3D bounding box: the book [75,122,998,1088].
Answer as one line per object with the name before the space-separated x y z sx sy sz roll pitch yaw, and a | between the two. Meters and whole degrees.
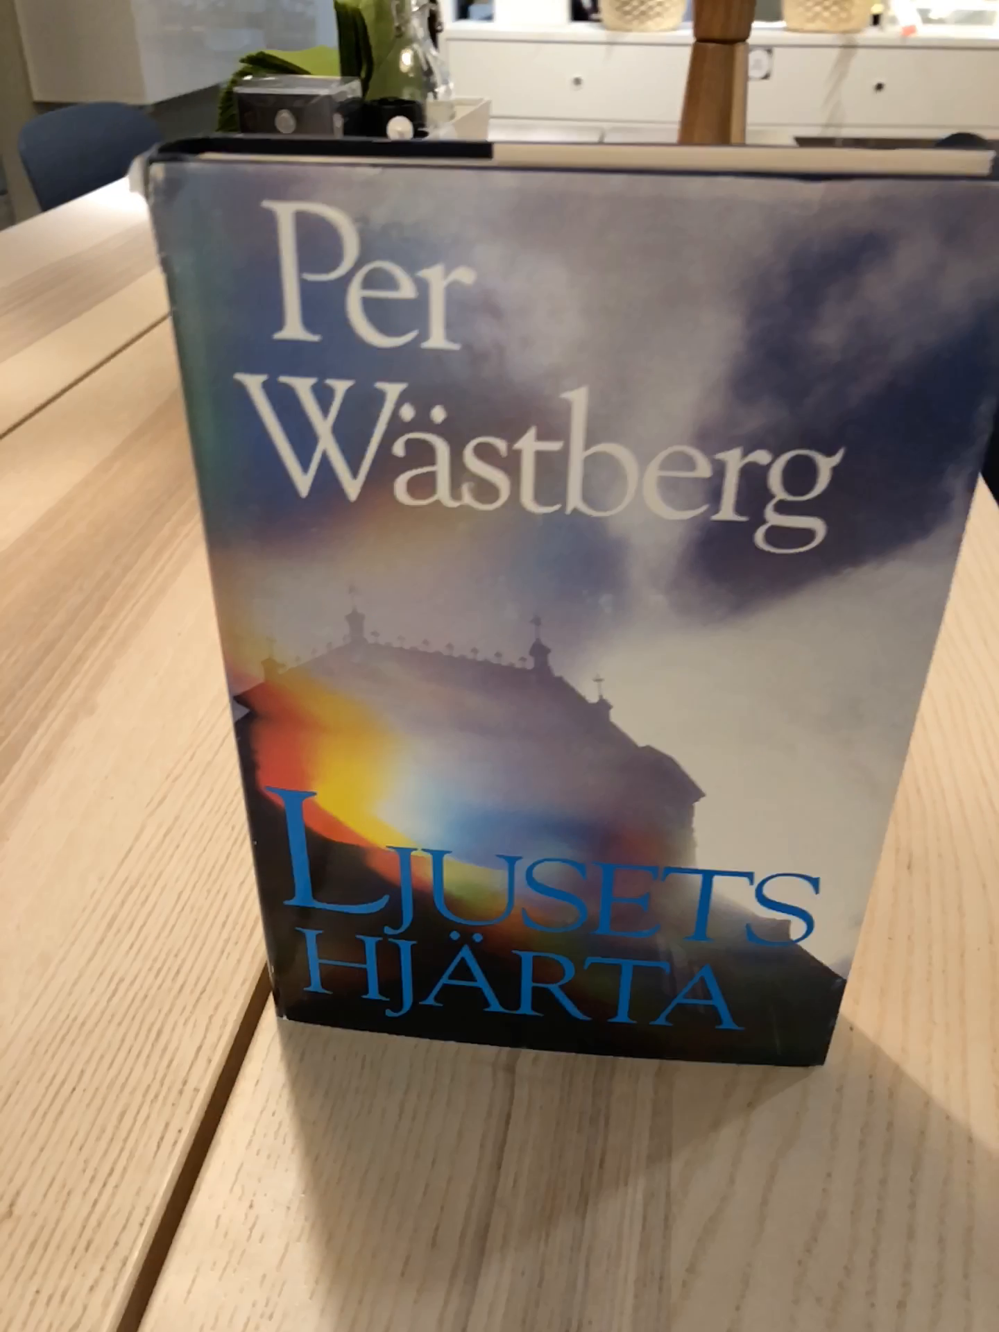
book | 0.012 0.000 0.258 0.166 0.221 0.042 4 32 6
